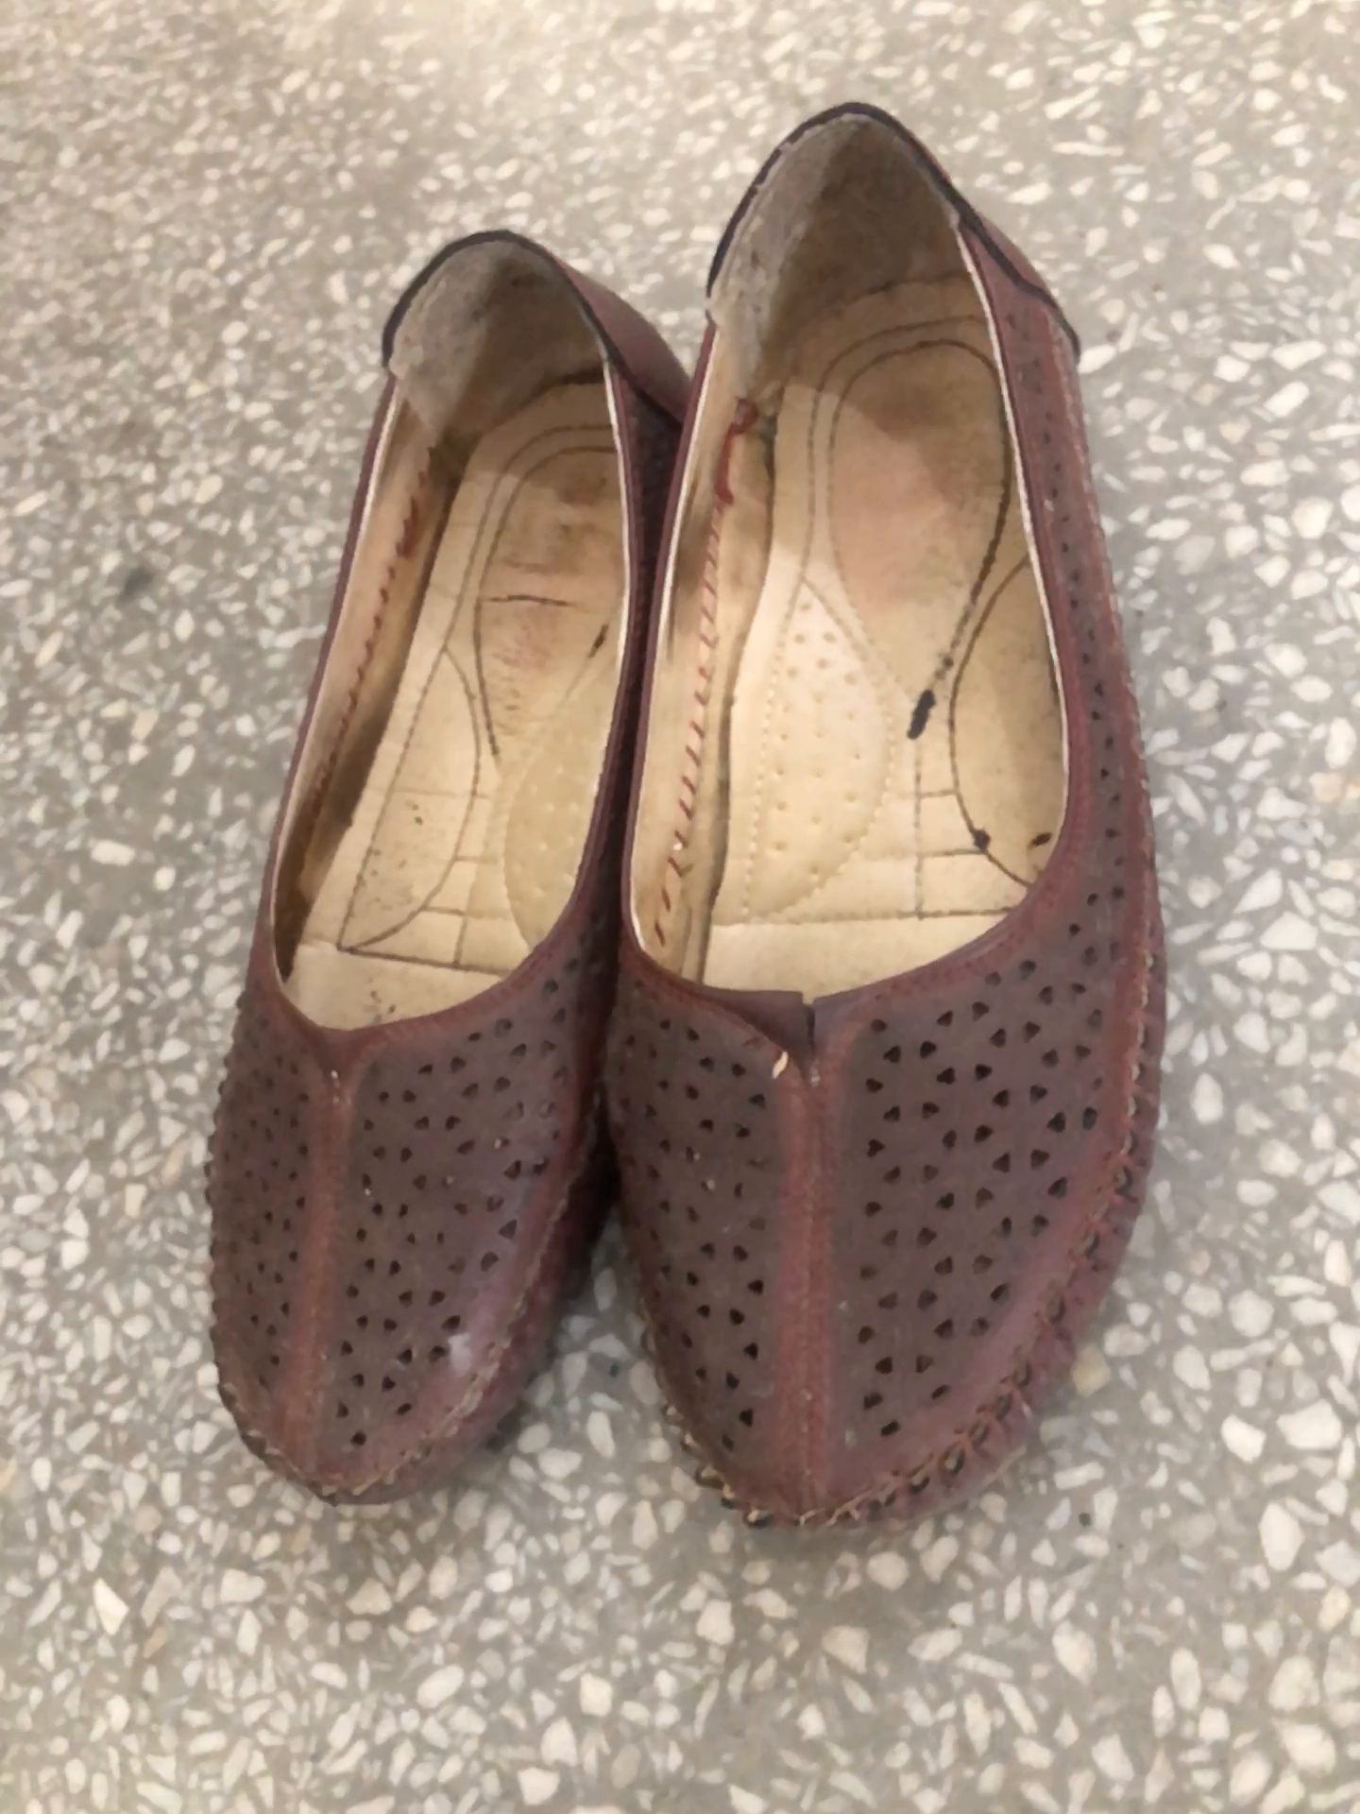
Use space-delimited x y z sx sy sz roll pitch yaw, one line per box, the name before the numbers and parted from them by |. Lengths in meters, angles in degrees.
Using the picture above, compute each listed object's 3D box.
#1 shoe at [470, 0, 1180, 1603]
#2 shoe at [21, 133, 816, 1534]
shoe | 0.034 -0.025 0.263 0.090 0.060 0.250 -3 70 23
shoe | -0.040 -0.020 0.299 0.090 0.060 0.250 1 72 24
